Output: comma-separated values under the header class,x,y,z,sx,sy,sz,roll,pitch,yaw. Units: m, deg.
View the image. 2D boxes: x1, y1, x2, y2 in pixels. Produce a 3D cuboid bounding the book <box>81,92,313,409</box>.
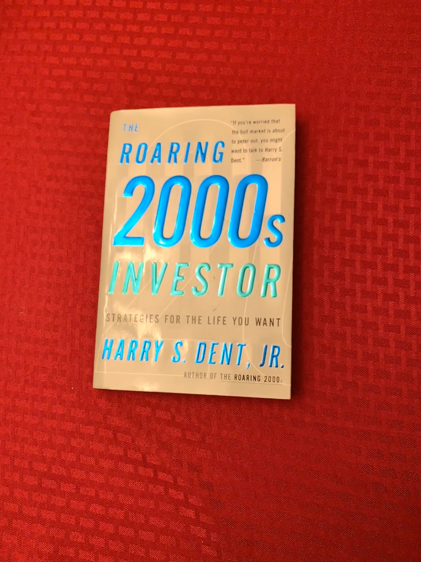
class,x,y,z,sx,sy,sz,roll,pitch,yaw
book,-0.006,-0.027,0.354,0.170,0.040,0.240,1,82,8
